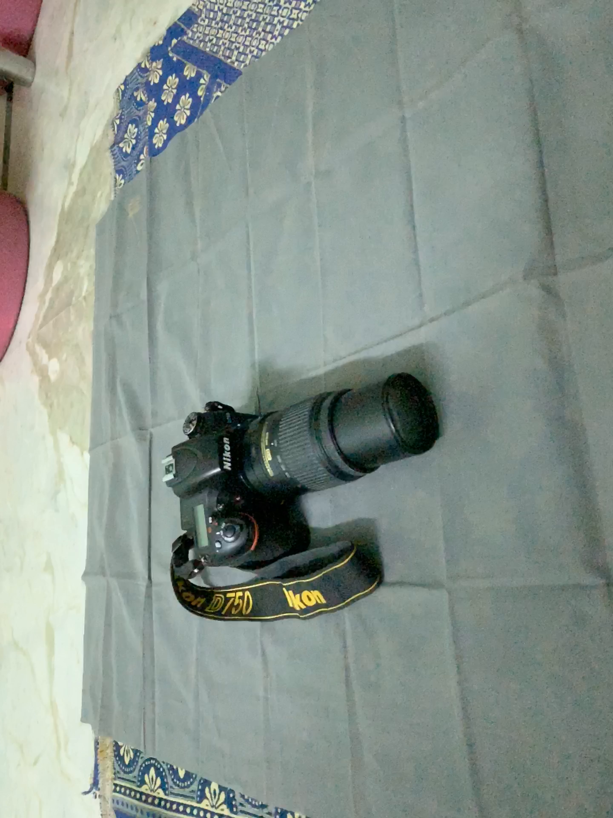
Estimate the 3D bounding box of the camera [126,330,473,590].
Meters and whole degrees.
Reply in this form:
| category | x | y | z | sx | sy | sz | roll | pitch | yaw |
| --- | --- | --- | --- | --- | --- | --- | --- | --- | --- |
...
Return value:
| category | x | y | z | sx | sy | sz | roll | pitch | yaw |
| --- | --- | --- | --- | --- | --- | --- | --- | --- | --- |
| camera | -0.029 | 0.062 | 0.510 | 0.289 | 0.109 | 0.147 | -20 | 69 | 46 |
